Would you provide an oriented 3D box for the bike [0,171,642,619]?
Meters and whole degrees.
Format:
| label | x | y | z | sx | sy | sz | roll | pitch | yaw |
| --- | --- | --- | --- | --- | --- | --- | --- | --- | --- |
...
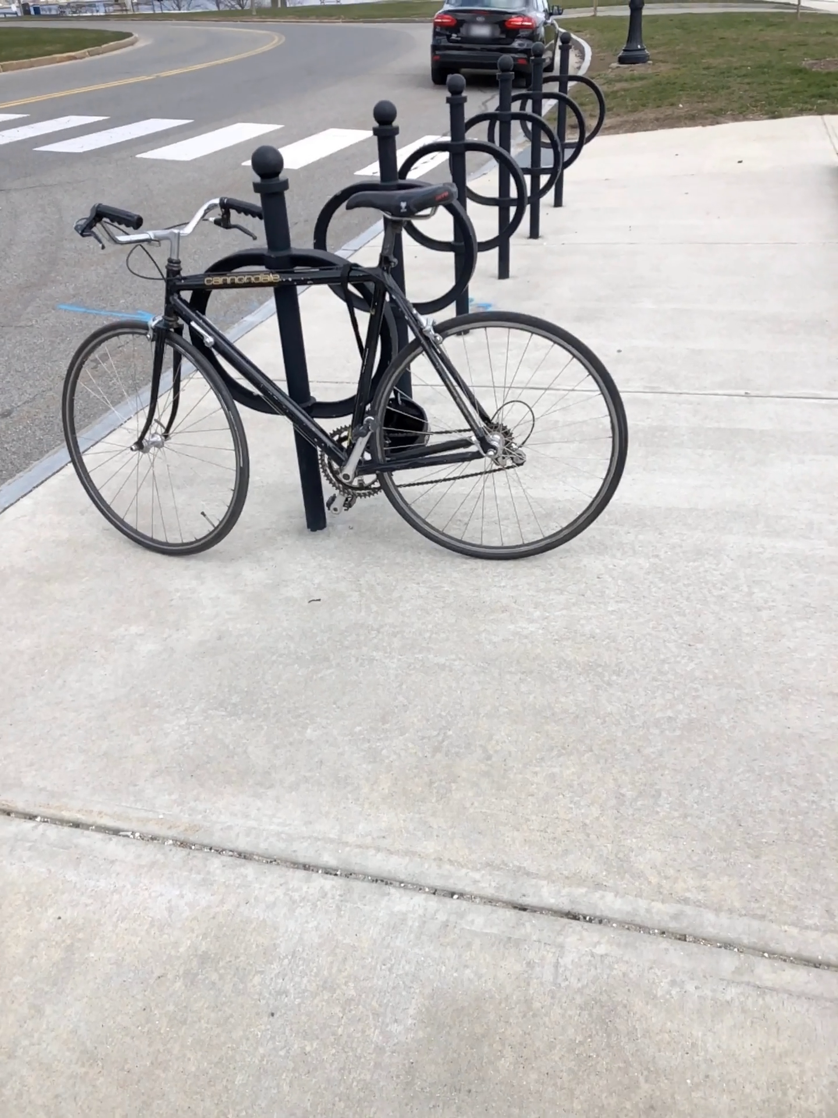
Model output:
| label | x | y | z | sx | sy | sz | roll | pitch | yaw |
| --- | --- | --- | --- | --- | --- | --- | --- | --- | --- |
| bike | -0.245 | -0.360 | 2.105 | 1.382 | 0.805 | 0.488 | 2 | 33 | 14 |
